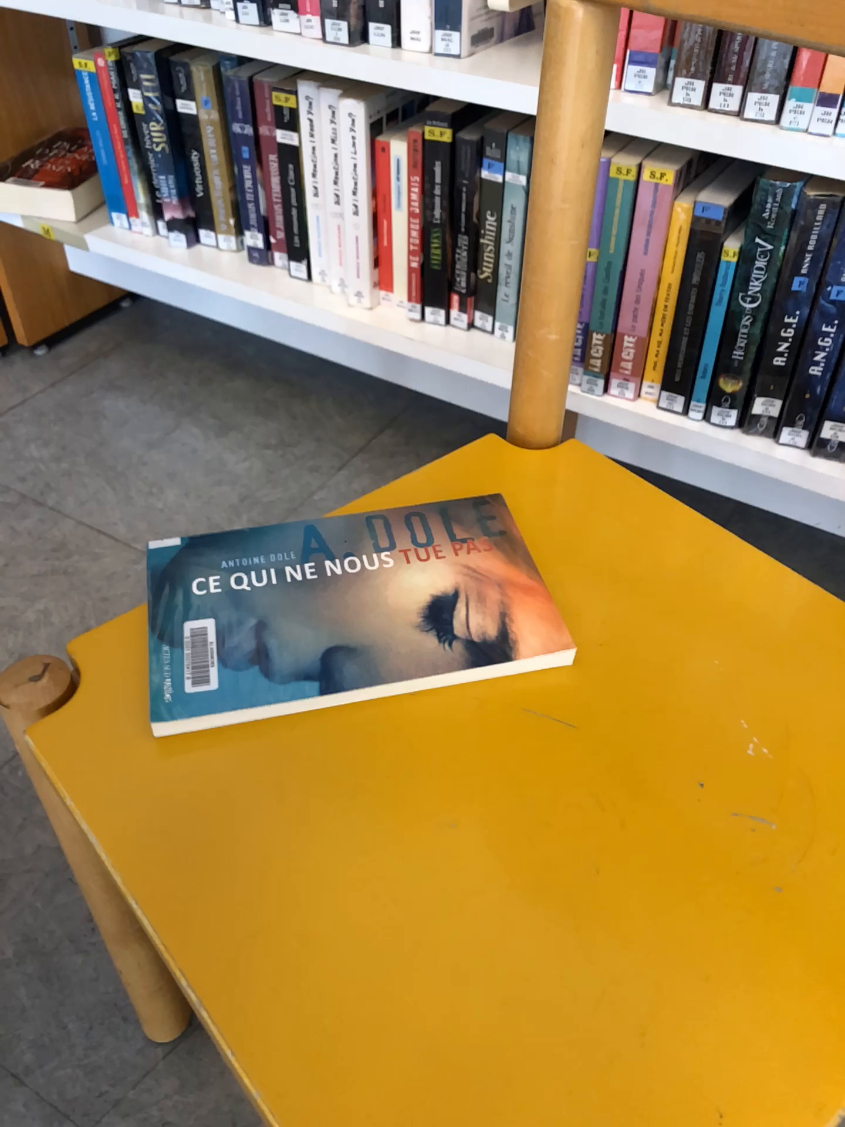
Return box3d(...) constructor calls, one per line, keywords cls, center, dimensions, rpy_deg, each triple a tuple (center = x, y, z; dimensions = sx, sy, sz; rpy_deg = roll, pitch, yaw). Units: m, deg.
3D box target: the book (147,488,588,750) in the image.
box3d(cls="book", center=(-0.037, 0.020, 0.500), dimensions=(0.212, 0.016, 0.141), rpy_deg=(-8, 43, -11))
